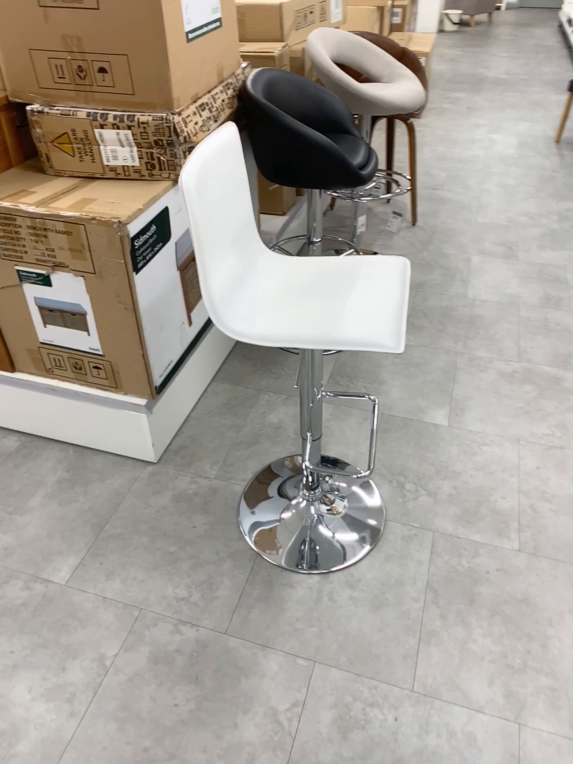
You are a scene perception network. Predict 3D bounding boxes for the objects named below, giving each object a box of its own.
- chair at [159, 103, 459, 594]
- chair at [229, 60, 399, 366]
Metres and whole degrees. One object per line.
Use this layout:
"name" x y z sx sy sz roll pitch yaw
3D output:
"chair" 0.073 -0.040 1.325 0.442 0.989 0.463 6 38 9
"chair" 0.111 -0.594 2.087 0.442 0.910 0.473 8 39 12
